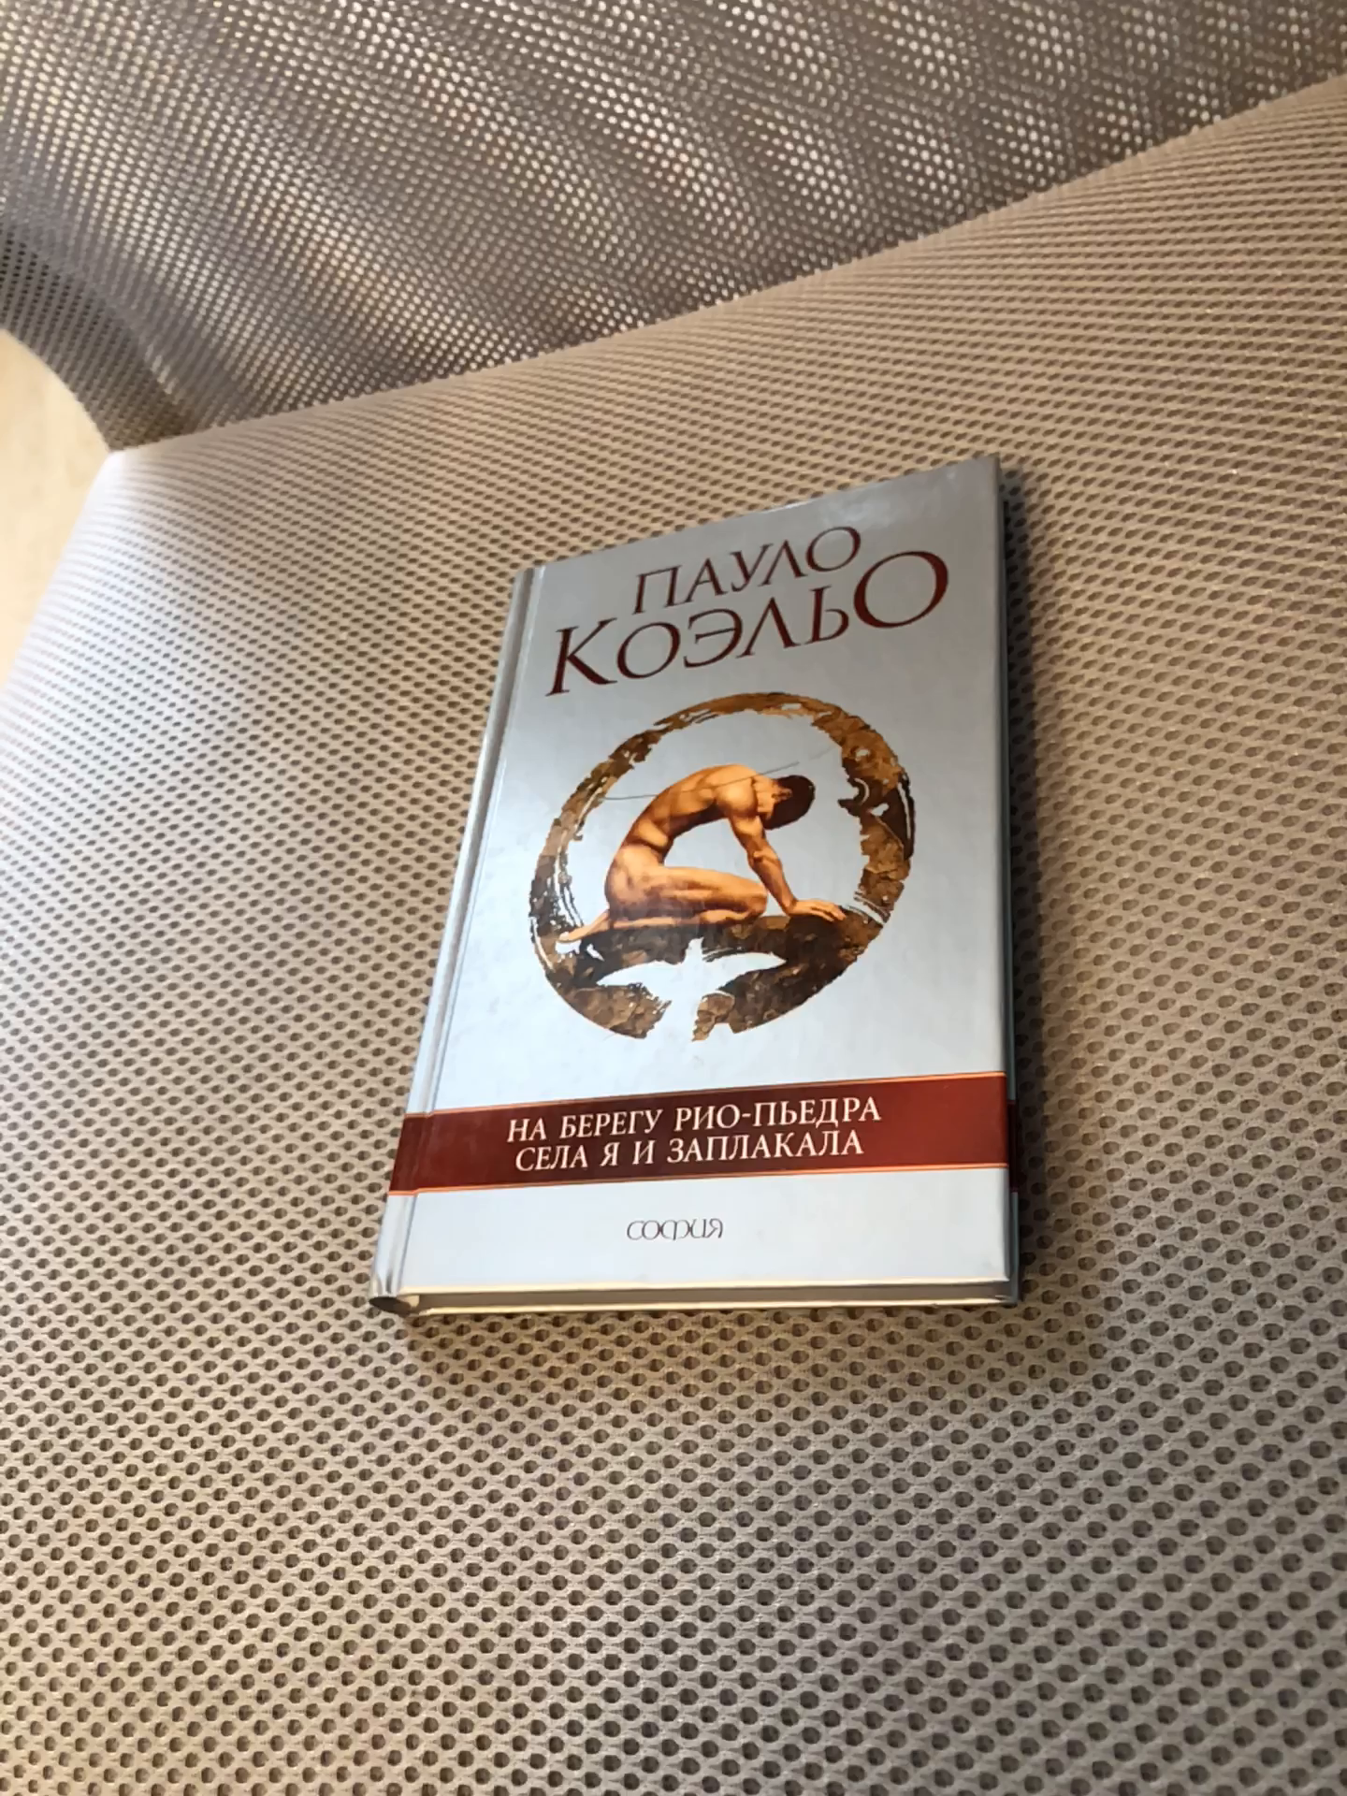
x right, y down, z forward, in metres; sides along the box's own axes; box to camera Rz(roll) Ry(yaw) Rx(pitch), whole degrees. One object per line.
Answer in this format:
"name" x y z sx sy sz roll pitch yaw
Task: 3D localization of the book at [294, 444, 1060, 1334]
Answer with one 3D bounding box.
"book" 0.005 -0.005 0.293 0.131 0.020 0.174 -7 57 22
